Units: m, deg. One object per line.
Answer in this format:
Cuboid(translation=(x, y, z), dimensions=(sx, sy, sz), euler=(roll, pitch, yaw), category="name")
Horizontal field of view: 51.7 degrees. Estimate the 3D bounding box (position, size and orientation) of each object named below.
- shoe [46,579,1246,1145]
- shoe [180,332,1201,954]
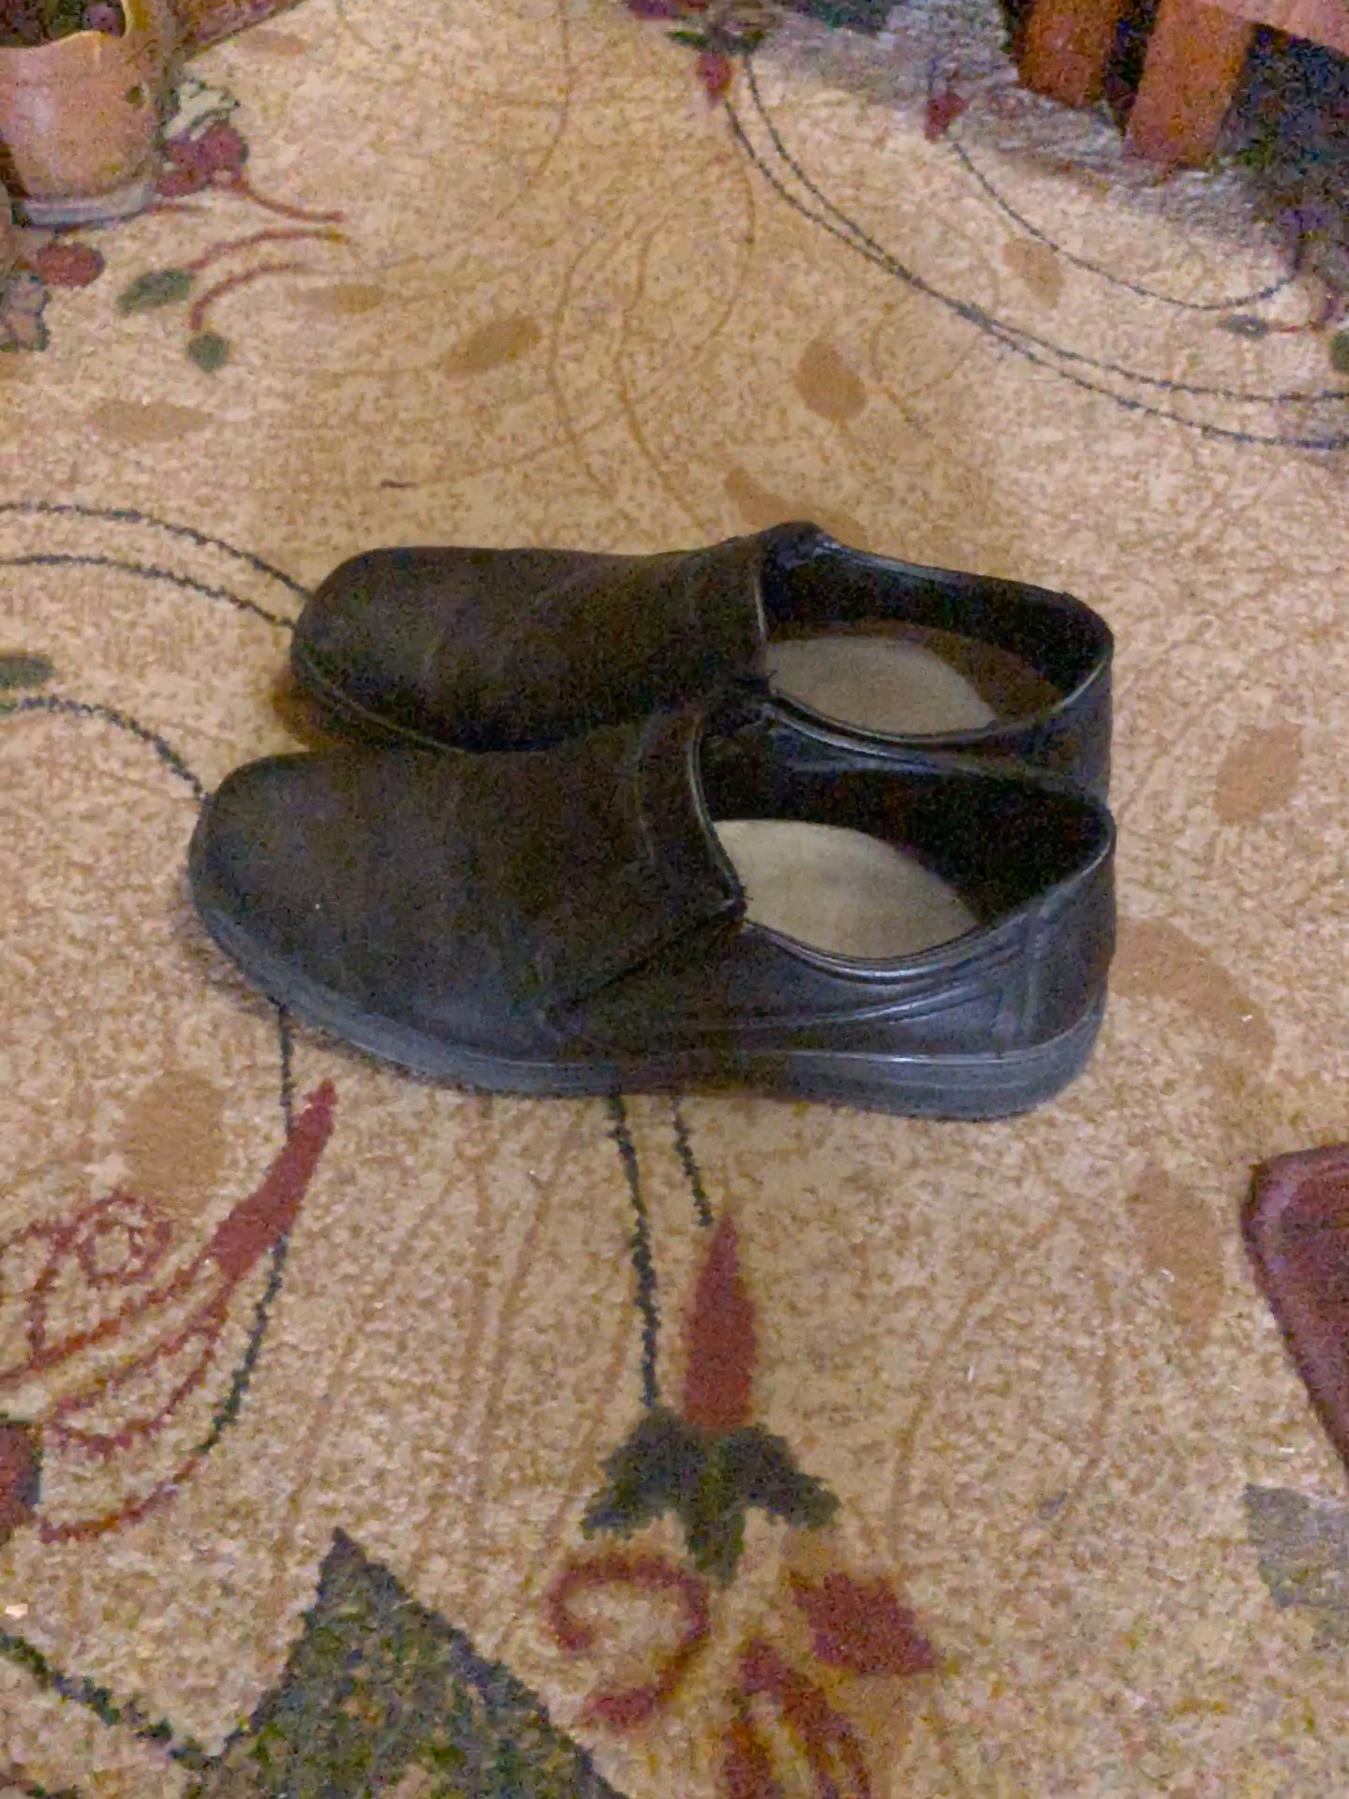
Cuboid(translation=(-0.006, -0.008, 0.405), dimensions=(0.290, 0.099, 0.101), euler=(5, 55, 0), category="shoe")
Cuboid(translation=(0.007, -0.085, 0.457), dimensions=(0.290, 0.099, 0.101), euler=(14, 55, 6), category="shoe")
